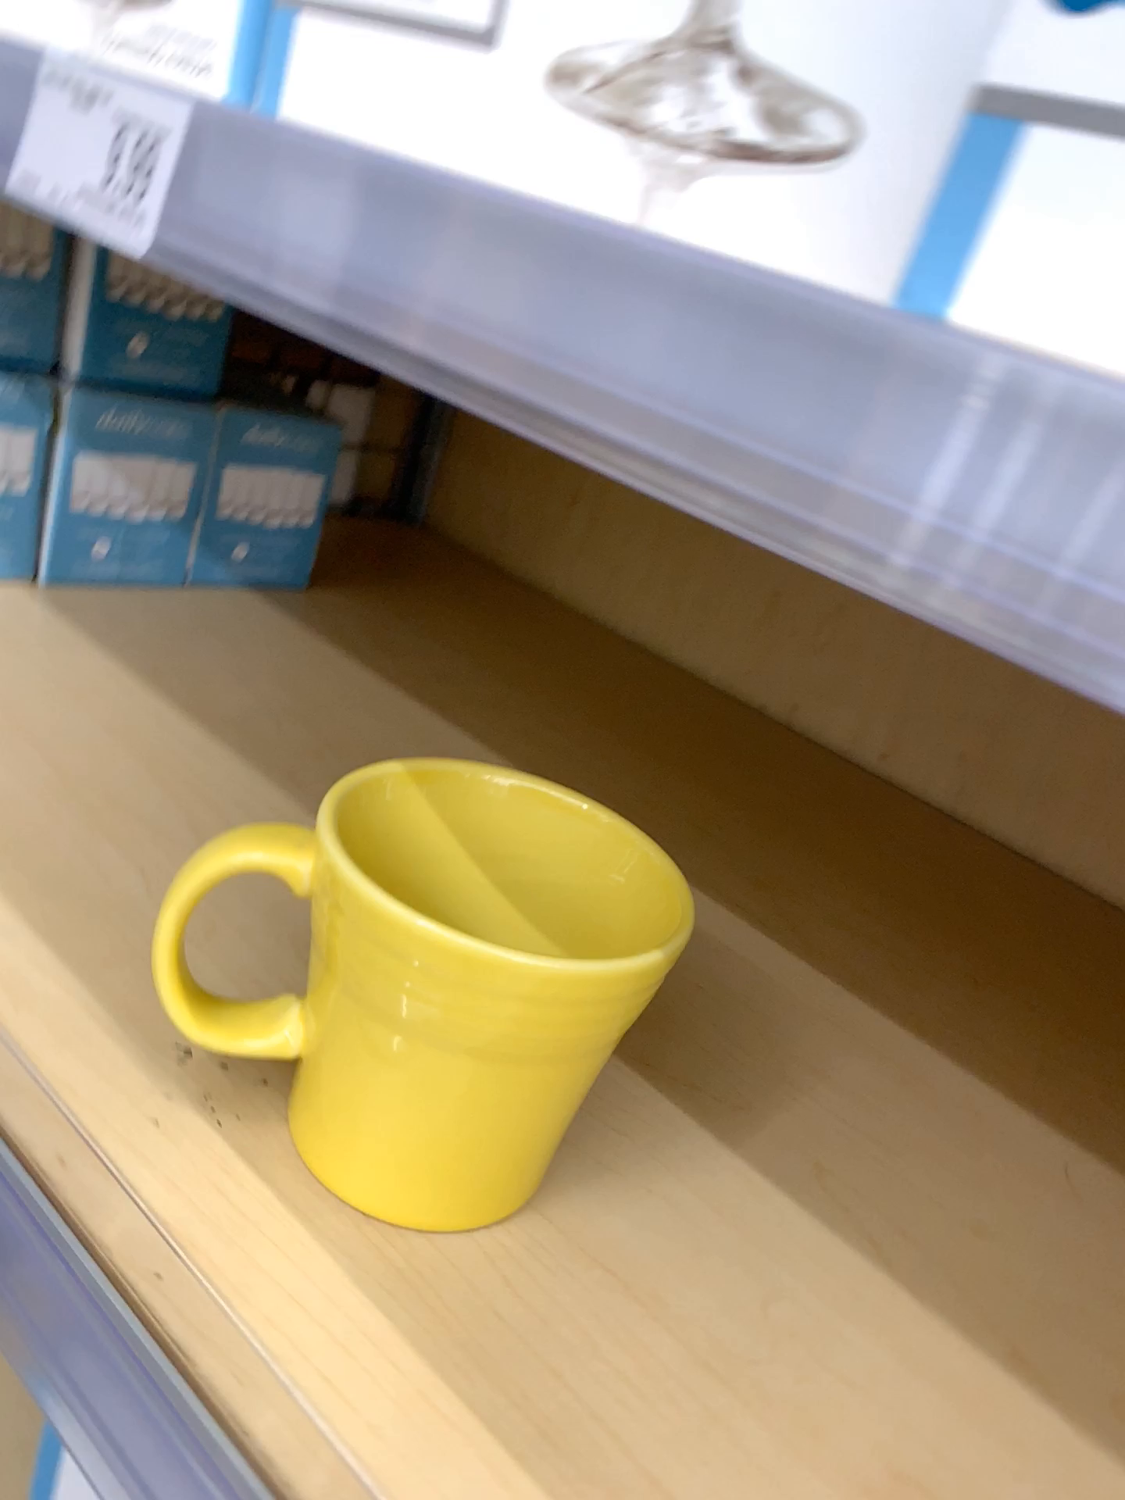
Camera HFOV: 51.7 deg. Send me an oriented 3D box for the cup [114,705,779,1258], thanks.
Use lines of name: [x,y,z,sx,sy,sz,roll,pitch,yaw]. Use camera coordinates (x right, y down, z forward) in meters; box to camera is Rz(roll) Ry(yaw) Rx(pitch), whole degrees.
cup: [-0.036,0.062,0.320,0.139,0.088,0.103,12,23,-18]
